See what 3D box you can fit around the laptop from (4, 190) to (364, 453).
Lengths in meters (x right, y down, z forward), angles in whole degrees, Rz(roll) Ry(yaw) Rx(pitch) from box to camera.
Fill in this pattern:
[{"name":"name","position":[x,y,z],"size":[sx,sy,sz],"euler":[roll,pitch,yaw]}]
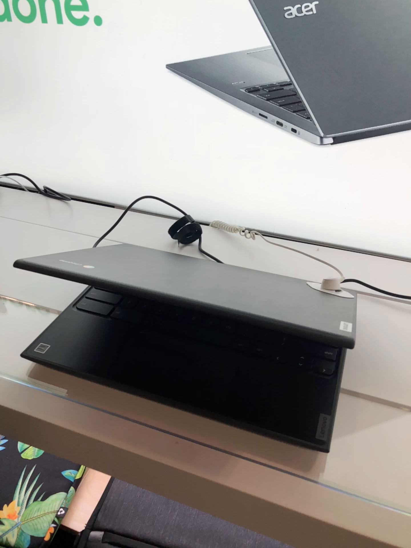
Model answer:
[{"name":"laptop","position":[-0.011,0.017,0.423],"size":[0.277,0.072,0.186],"euler":[12,40,19]}]
